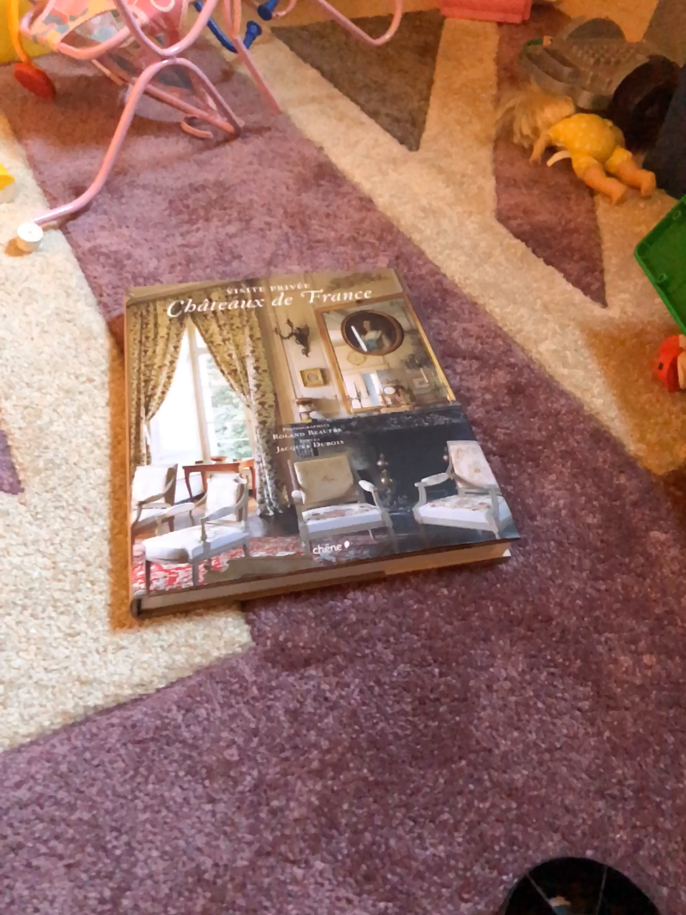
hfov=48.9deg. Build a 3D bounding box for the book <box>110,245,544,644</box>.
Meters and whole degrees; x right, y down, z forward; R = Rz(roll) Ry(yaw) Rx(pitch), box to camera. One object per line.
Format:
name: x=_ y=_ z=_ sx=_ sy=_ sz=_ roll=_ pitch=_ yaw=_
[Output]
book: x=-0.037 y=-0.041 z=0.577 sx=0.260 sy=0.050 sz=0.341 roll=-7 pitch=47 yaw=-10
